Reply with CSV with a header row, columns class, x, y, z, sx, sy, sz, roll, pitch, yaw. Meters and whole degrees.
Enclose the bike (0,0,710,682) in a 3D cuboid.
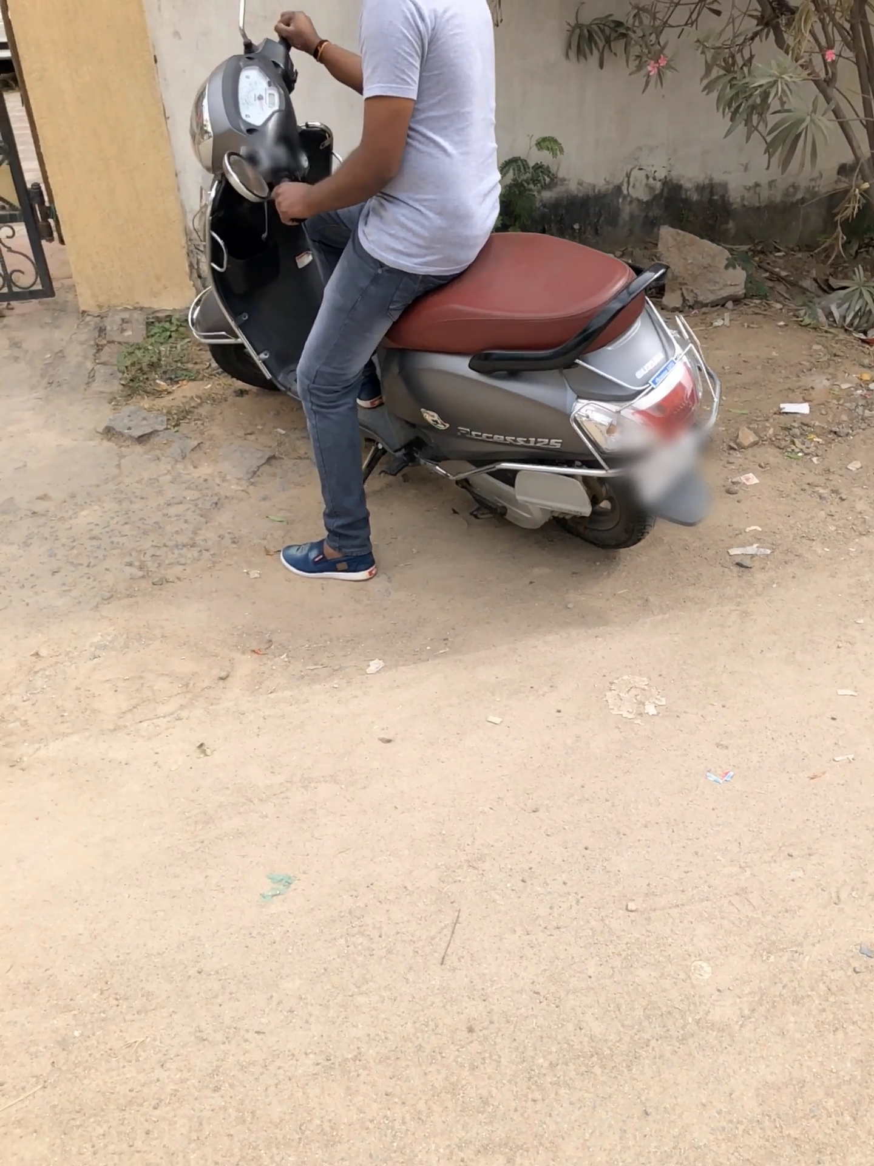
class,x,y,z,sx,sy,sz,roll,pitch,yaw
bike,-0.254,-0.711,2.285,1.498,1.195,0.614,24,41,30
